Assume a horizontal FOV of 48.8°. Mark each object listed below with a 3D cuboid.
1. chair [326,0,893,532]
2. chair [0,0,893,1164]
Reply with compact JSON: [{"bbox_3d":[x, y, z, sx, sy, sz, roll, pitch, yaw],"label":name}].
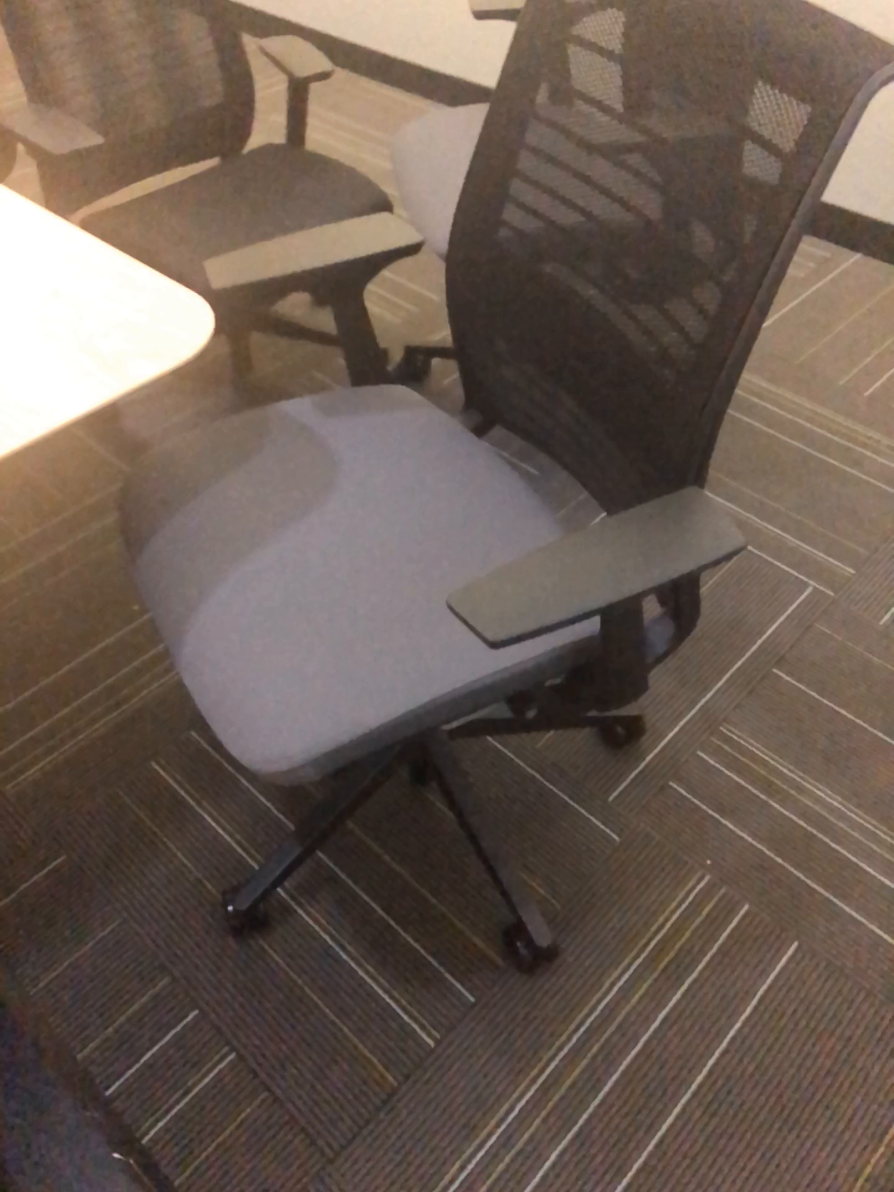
[{"bbox_3d":[0.245,-0.769,1.738,0.711,0.962,0.725,-11,46,-11],"label":"chair"},{"bbox_3d":[-0.038,-0.084,1.058,0.723,0.962,0.734,-20,48,-19],"label":"chair"}]
